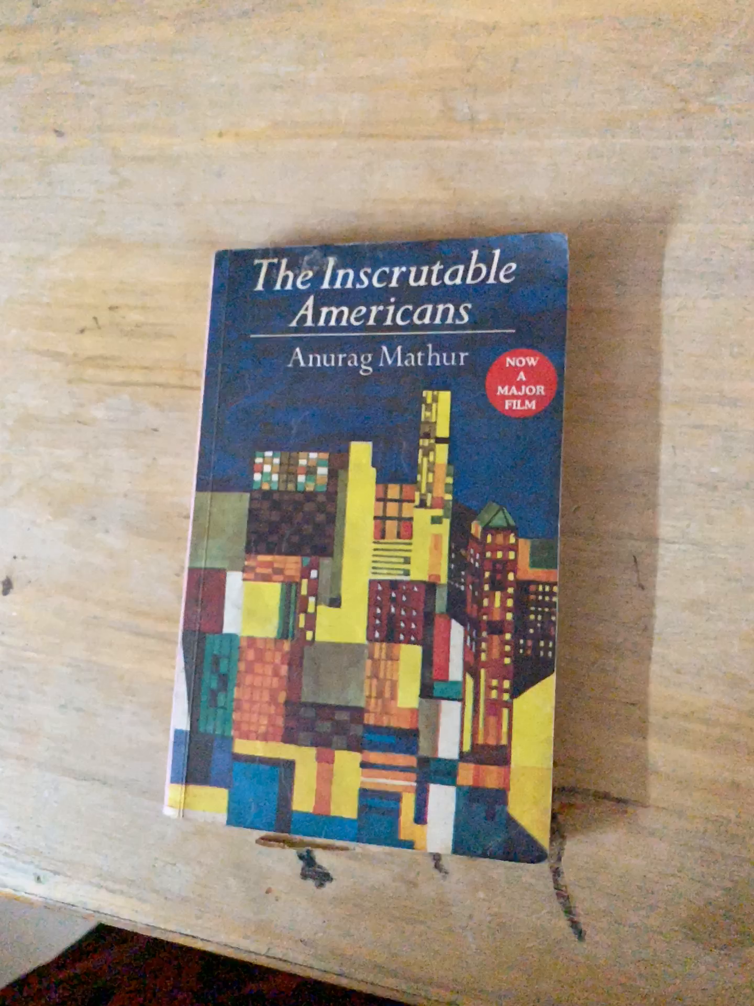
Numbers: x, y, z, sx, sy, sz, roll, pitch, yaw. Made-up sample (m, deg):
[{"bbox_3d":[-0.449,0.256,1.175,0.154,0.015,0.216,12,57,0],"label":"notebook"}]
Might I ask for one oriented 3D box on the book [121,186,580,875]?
[{"bbox_3d":[-0.005,0.003,0.233,0.120,0.030,0.180,2,83,12],"label":"book"}]
